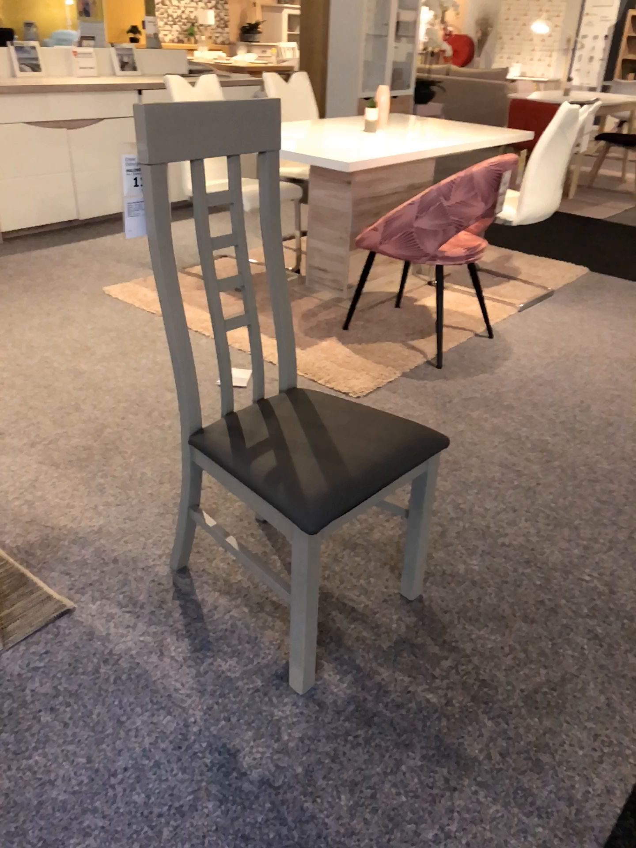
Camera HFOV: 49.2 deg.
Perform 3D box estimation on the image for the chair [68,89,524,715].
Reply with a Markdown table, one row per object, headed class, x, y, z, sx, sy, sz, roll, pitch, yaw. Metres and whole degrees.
| class | x | y | z | sx | sy | sz | roll | pitch | yaw |
| --- | --- | --- | --- | --- | --- | --- | --- | --- | --- |
| chair | -0.052 | -0.082 | 1.388 | 0.550 | 1.014 | 0.513 | 25 | 36 | 34 |
